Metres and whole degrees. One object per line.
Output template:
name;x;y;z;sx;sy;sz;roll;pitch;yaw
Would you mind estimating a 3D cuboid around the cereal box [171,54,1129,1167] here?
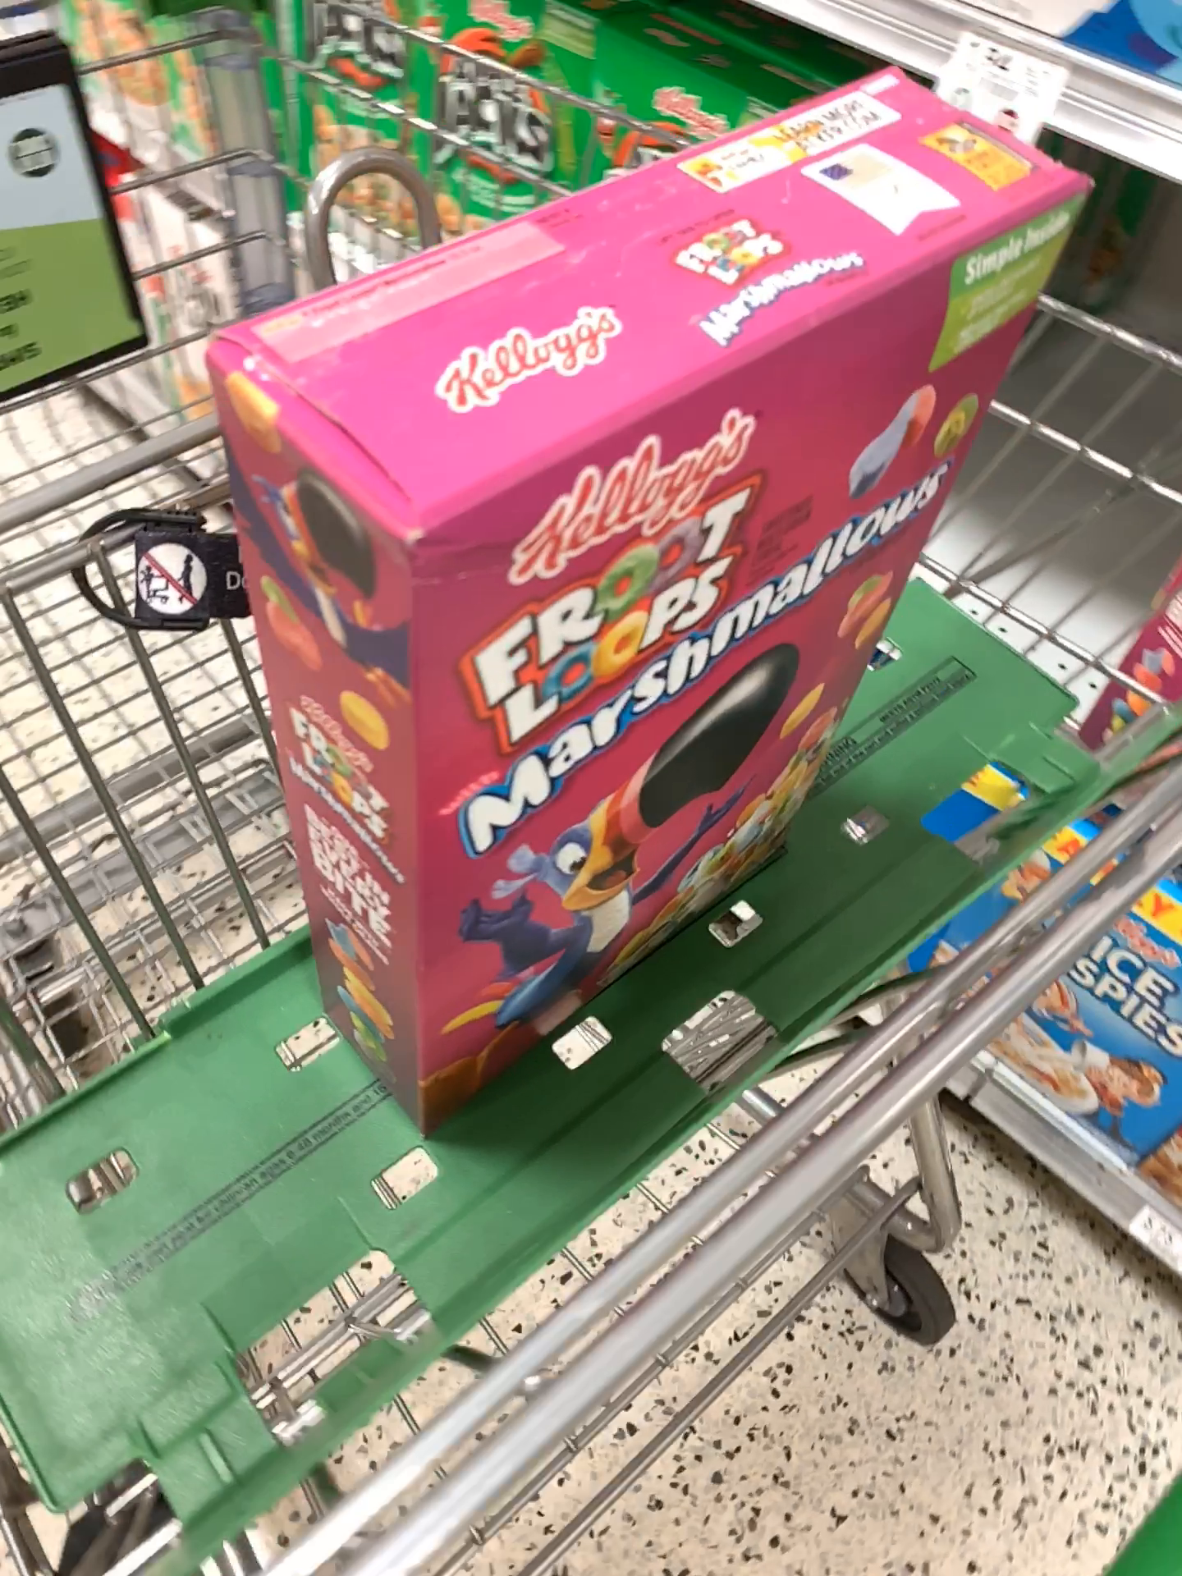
cereal box;0.009;-0.023;0.351;0.201;0.287;0.060;-35;67;-27
